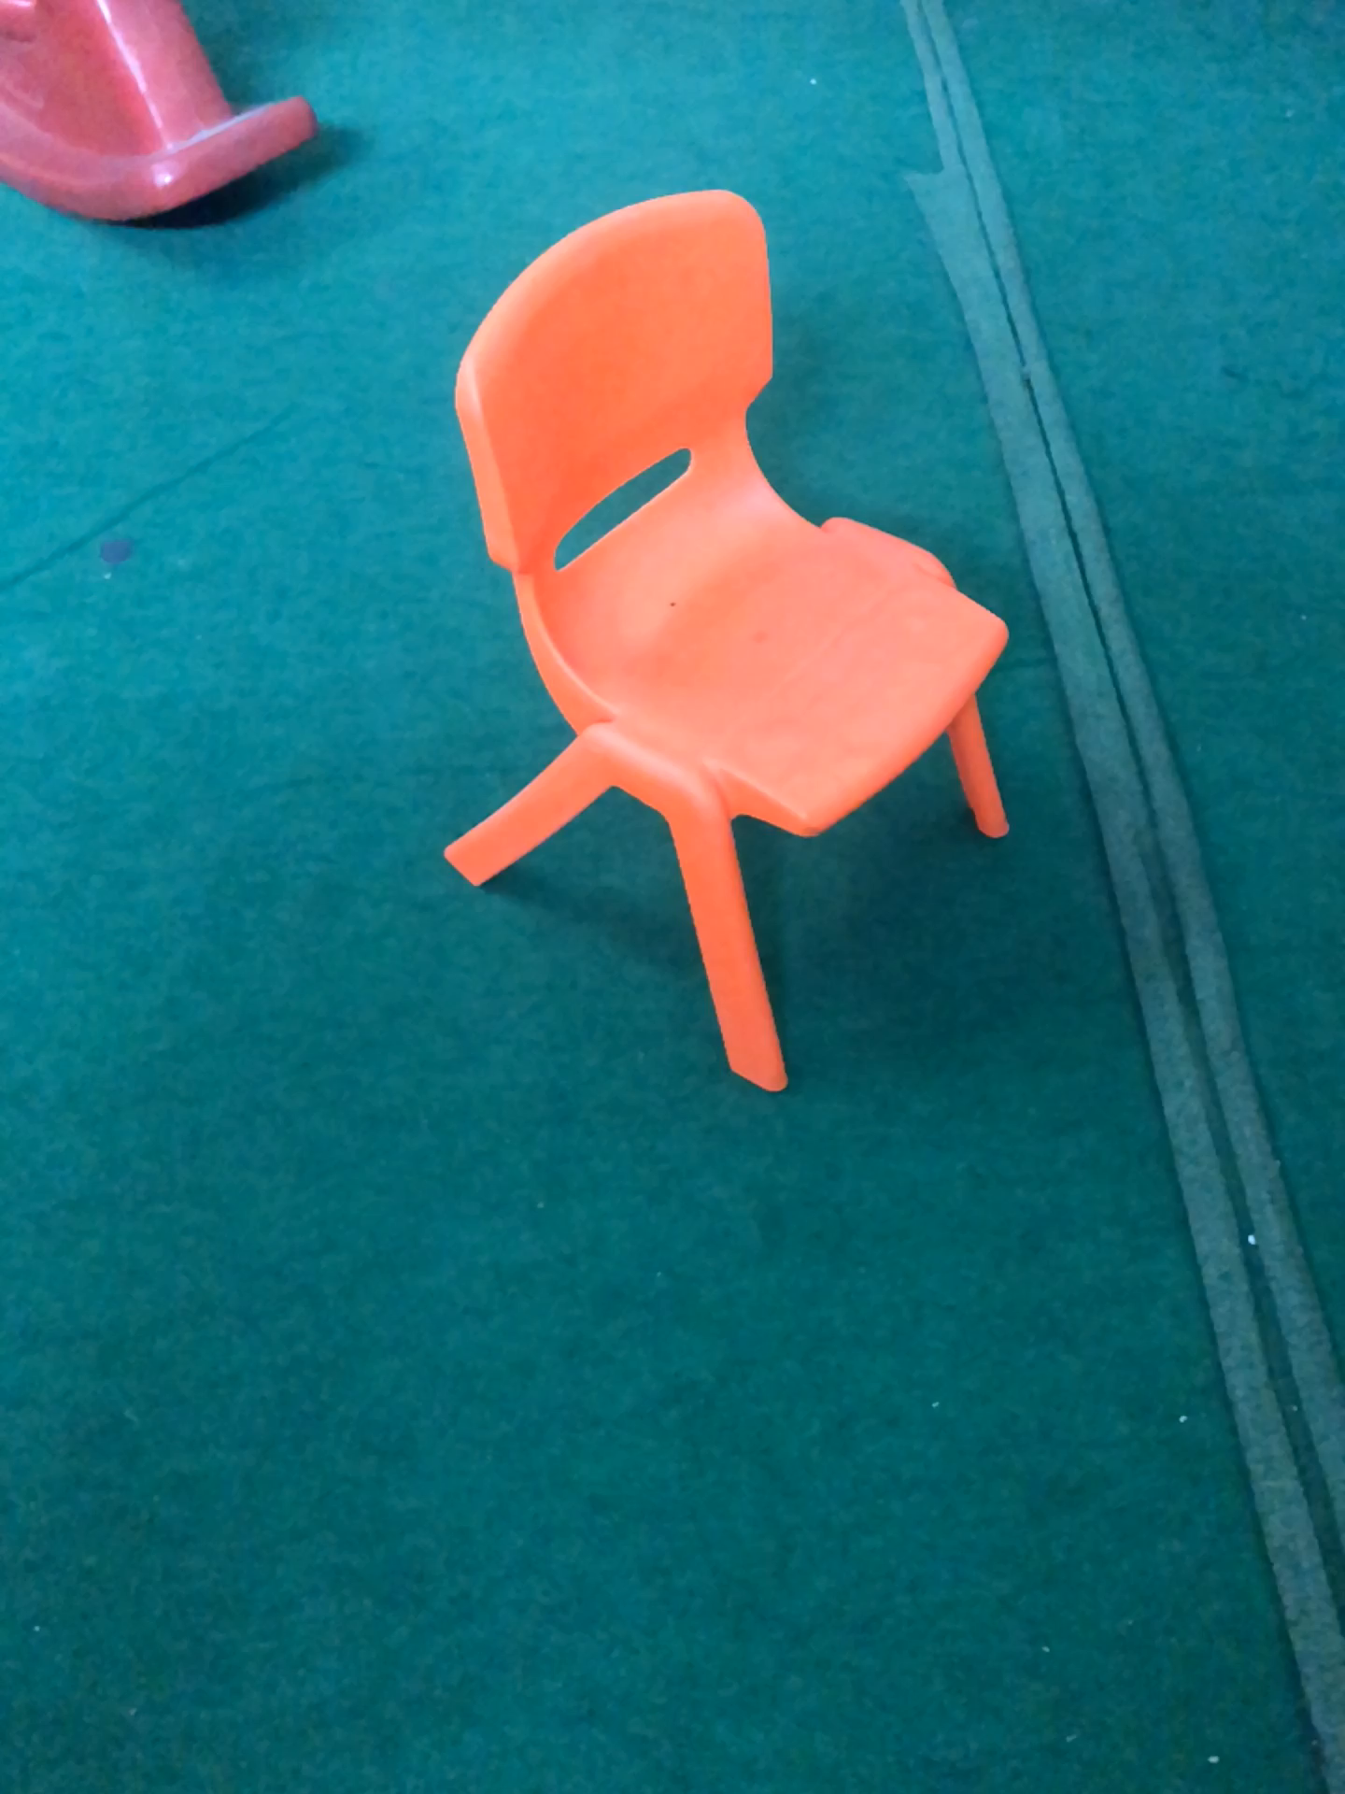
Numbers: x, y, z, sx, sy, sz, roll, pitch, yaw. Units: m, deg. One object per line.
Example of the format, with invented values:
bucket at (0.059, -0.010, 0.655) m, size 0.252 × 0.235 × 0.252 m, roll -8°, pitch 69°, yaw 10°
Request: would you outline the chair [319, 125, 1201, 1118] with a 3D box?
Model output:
chair at (0.052, -0.190, 1.076) m, size 0.390 × 0.479 × 0.360 m, roll 33°, pitch 58°, yaw 22°
